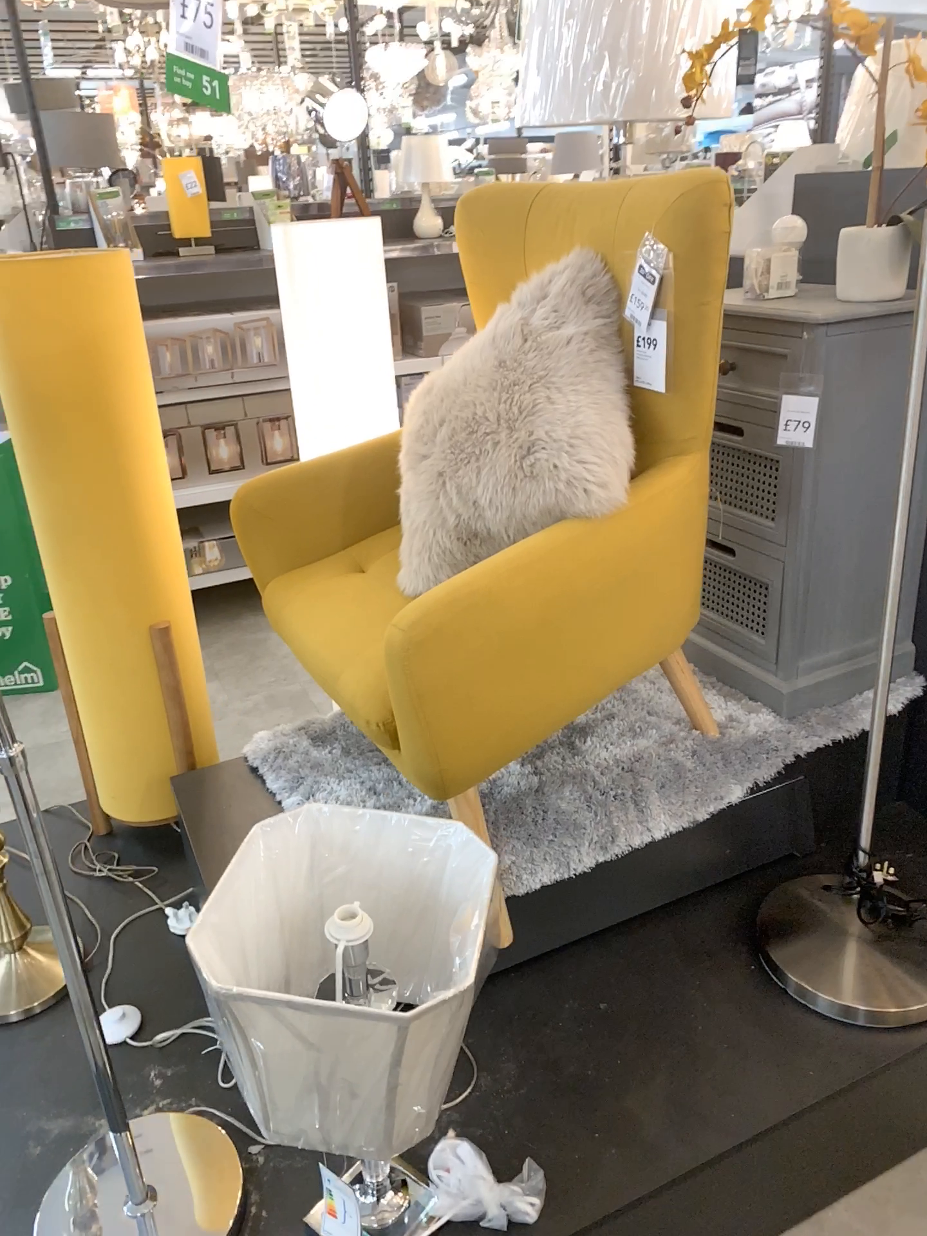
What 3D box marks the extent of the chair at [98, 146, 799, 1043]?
[{"bbox_3d":[0.017,-0.079,1.461,0.712,1.020,0.594,-23,29,-20],"label":"chair"}]
